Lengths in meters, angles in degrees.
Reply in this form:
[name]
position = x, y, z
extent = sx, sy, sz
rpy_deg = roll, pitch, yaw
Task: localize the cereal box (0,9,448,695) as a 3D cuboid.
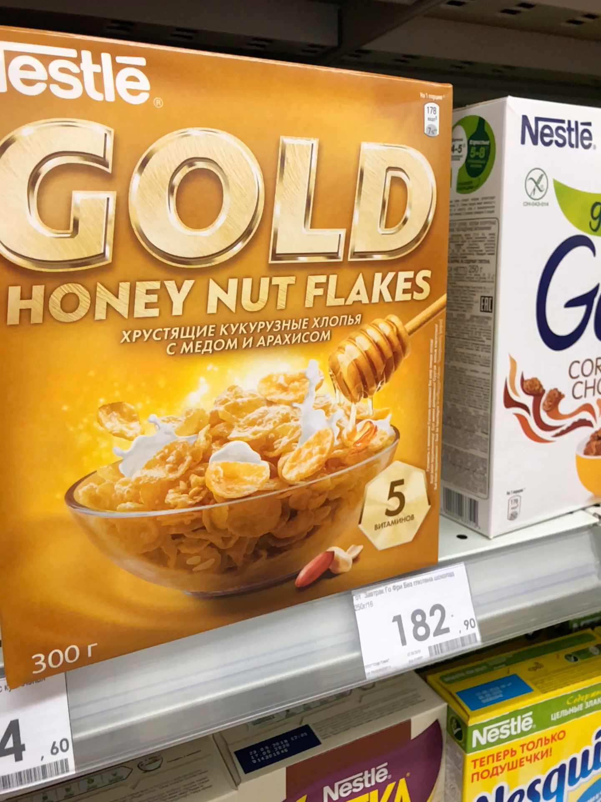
[cereal box]
position = -0.033, -0.020, 0.277
extent = 0.190, 0.219, 0.050
rpy_deg = -7, 13, -27
